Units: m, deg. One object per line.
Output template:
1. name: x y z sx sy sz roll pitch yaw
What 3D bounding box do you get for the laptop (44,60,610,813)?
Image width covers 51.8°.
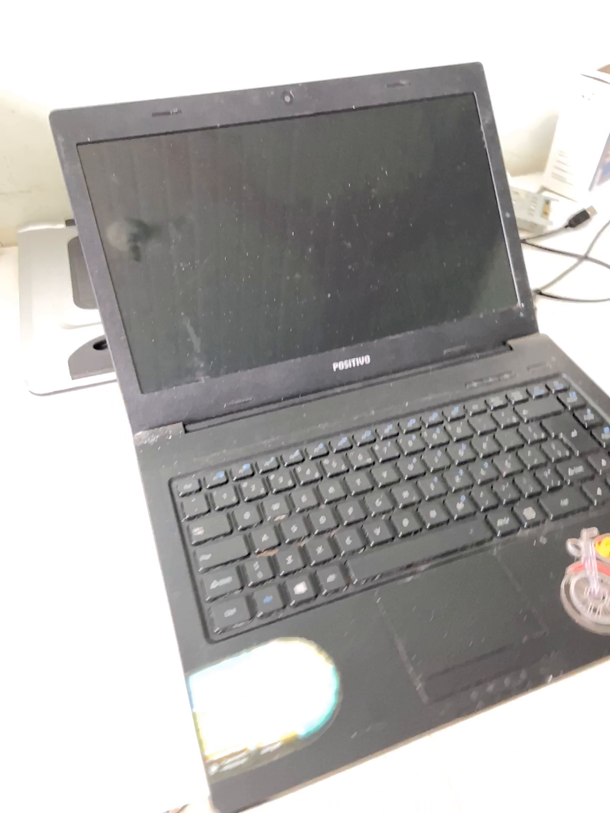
1. laptop: 0.049 -0.051 0.388 0.334 0.163 0.394 -14 46 -14
